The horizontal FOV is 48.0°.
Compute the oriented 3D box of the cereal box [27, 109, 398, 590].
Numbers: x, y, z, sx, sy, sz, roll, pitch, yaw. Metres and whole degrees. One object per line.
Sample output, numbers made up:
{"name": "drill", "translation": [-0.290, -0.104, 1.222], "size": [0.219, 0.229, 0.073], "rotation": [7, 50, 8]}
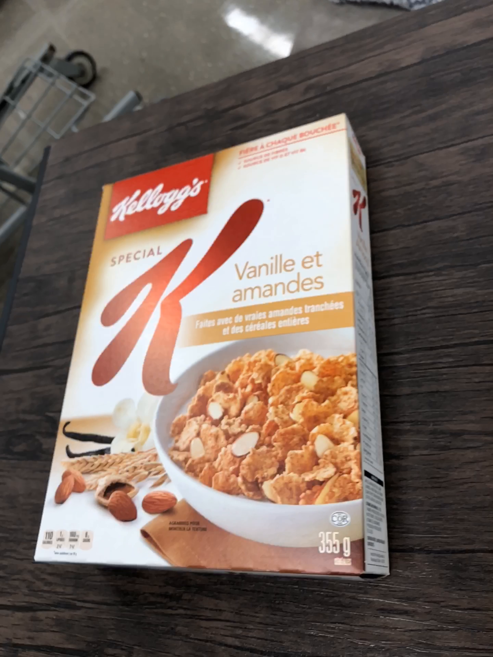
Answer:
{"name": "cereal box", "translation": [-0.020, 0.013, 0.357], "size": [0.201, 0.060, 0.270], "rotation": [-8, 65, 24]}
